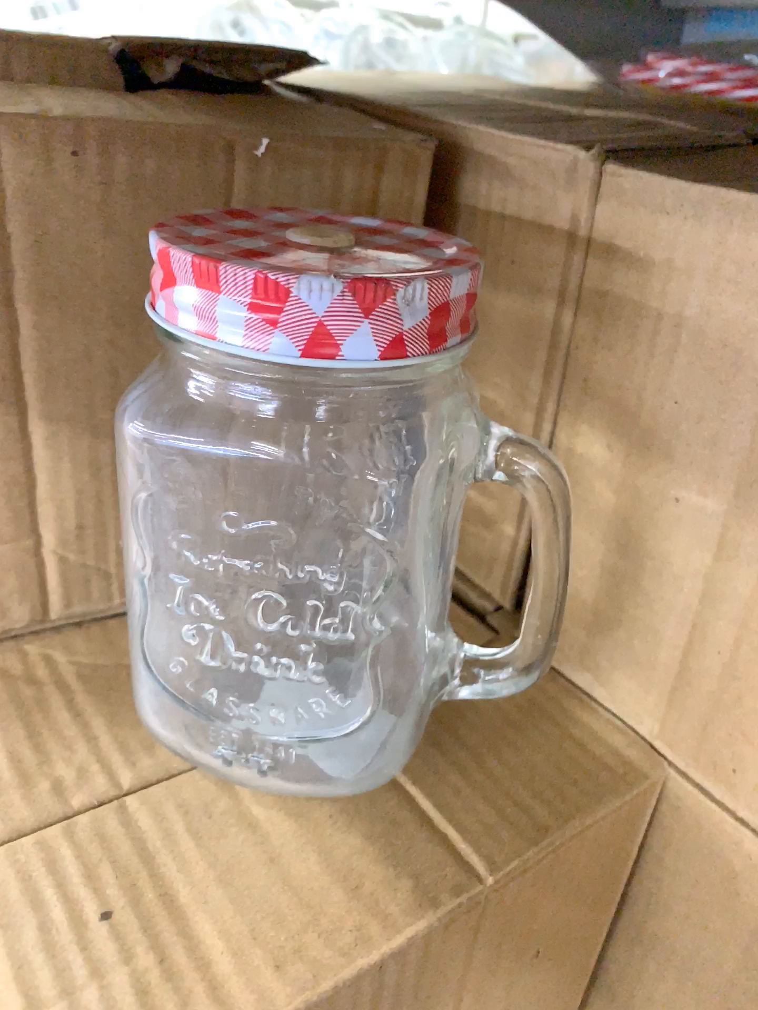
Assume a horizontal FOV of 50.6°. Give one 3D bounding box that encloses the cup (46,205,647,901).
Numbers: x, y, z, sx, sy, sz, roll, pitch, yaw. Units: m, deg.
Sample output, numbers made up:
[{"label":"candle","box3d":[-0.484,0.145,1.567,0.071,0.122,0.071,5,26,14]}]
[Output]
[{"label":"cup","box3d":[-0.003,0.001,0.187,0.100,0.119,0.080,12,26,14]}]
